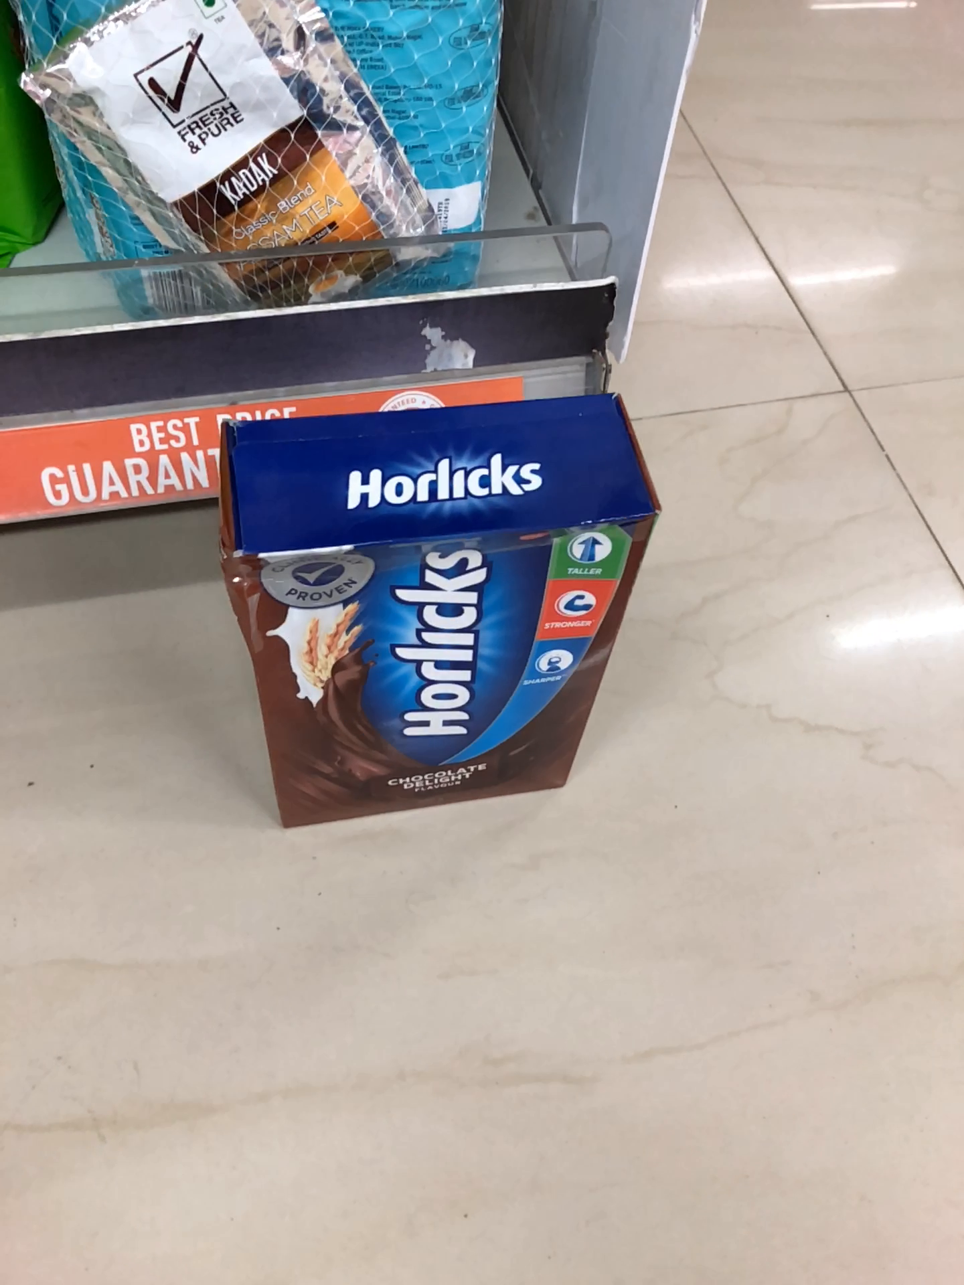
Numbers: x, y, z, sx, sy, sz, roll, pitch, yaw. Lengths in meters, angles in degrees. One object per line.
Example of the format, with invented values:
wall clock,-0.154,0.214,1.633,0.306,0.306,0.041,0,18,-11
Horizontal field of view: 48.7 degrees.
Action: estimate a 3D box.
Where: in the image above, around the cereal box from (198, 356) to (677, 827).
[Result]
cereal box,-0.023,-0.007,0.417,0.140,0.209,0.060,-7,59,-10
